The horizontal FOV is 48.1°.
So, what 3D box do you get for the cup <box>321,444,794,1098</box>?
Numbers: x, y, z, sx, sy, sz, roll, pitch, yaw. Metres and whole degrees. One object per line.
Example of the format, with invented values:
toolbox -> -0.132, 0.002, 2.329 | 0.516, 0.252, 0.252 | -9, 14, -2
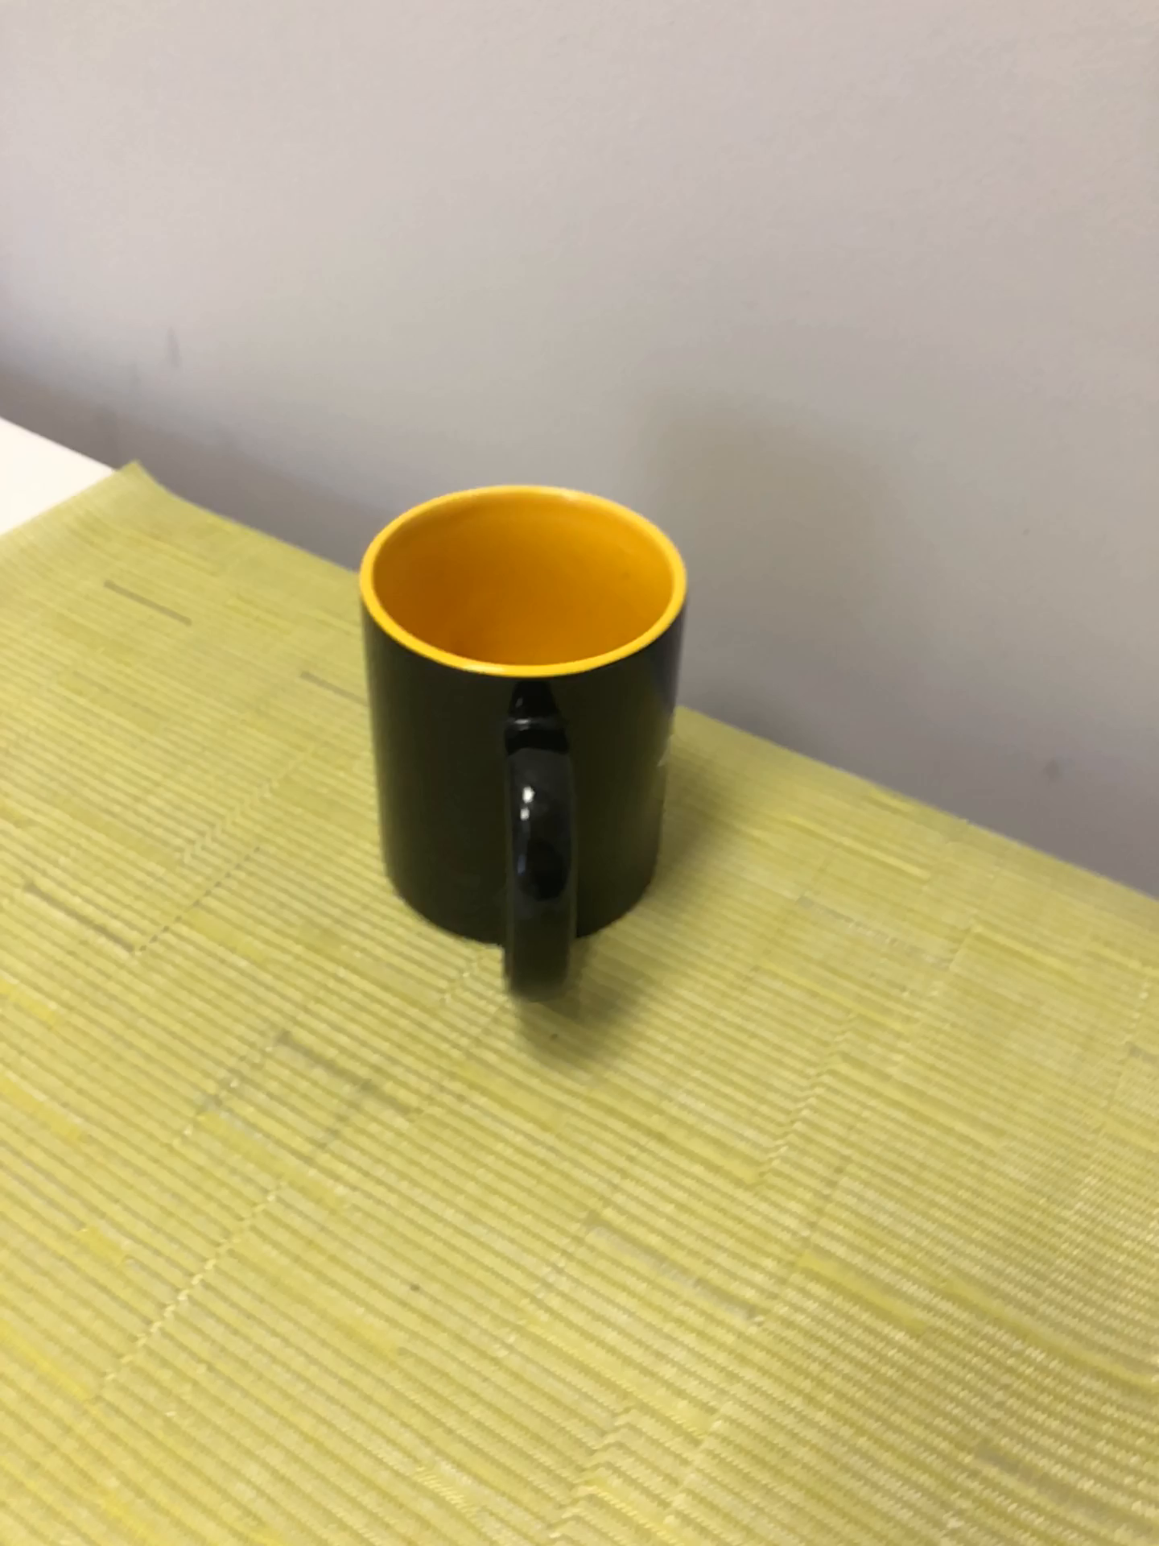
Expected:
cup -> -0.014, -0.004, 0.326 | 0.088, 0.104, 0.120 | -5, 43, -9
